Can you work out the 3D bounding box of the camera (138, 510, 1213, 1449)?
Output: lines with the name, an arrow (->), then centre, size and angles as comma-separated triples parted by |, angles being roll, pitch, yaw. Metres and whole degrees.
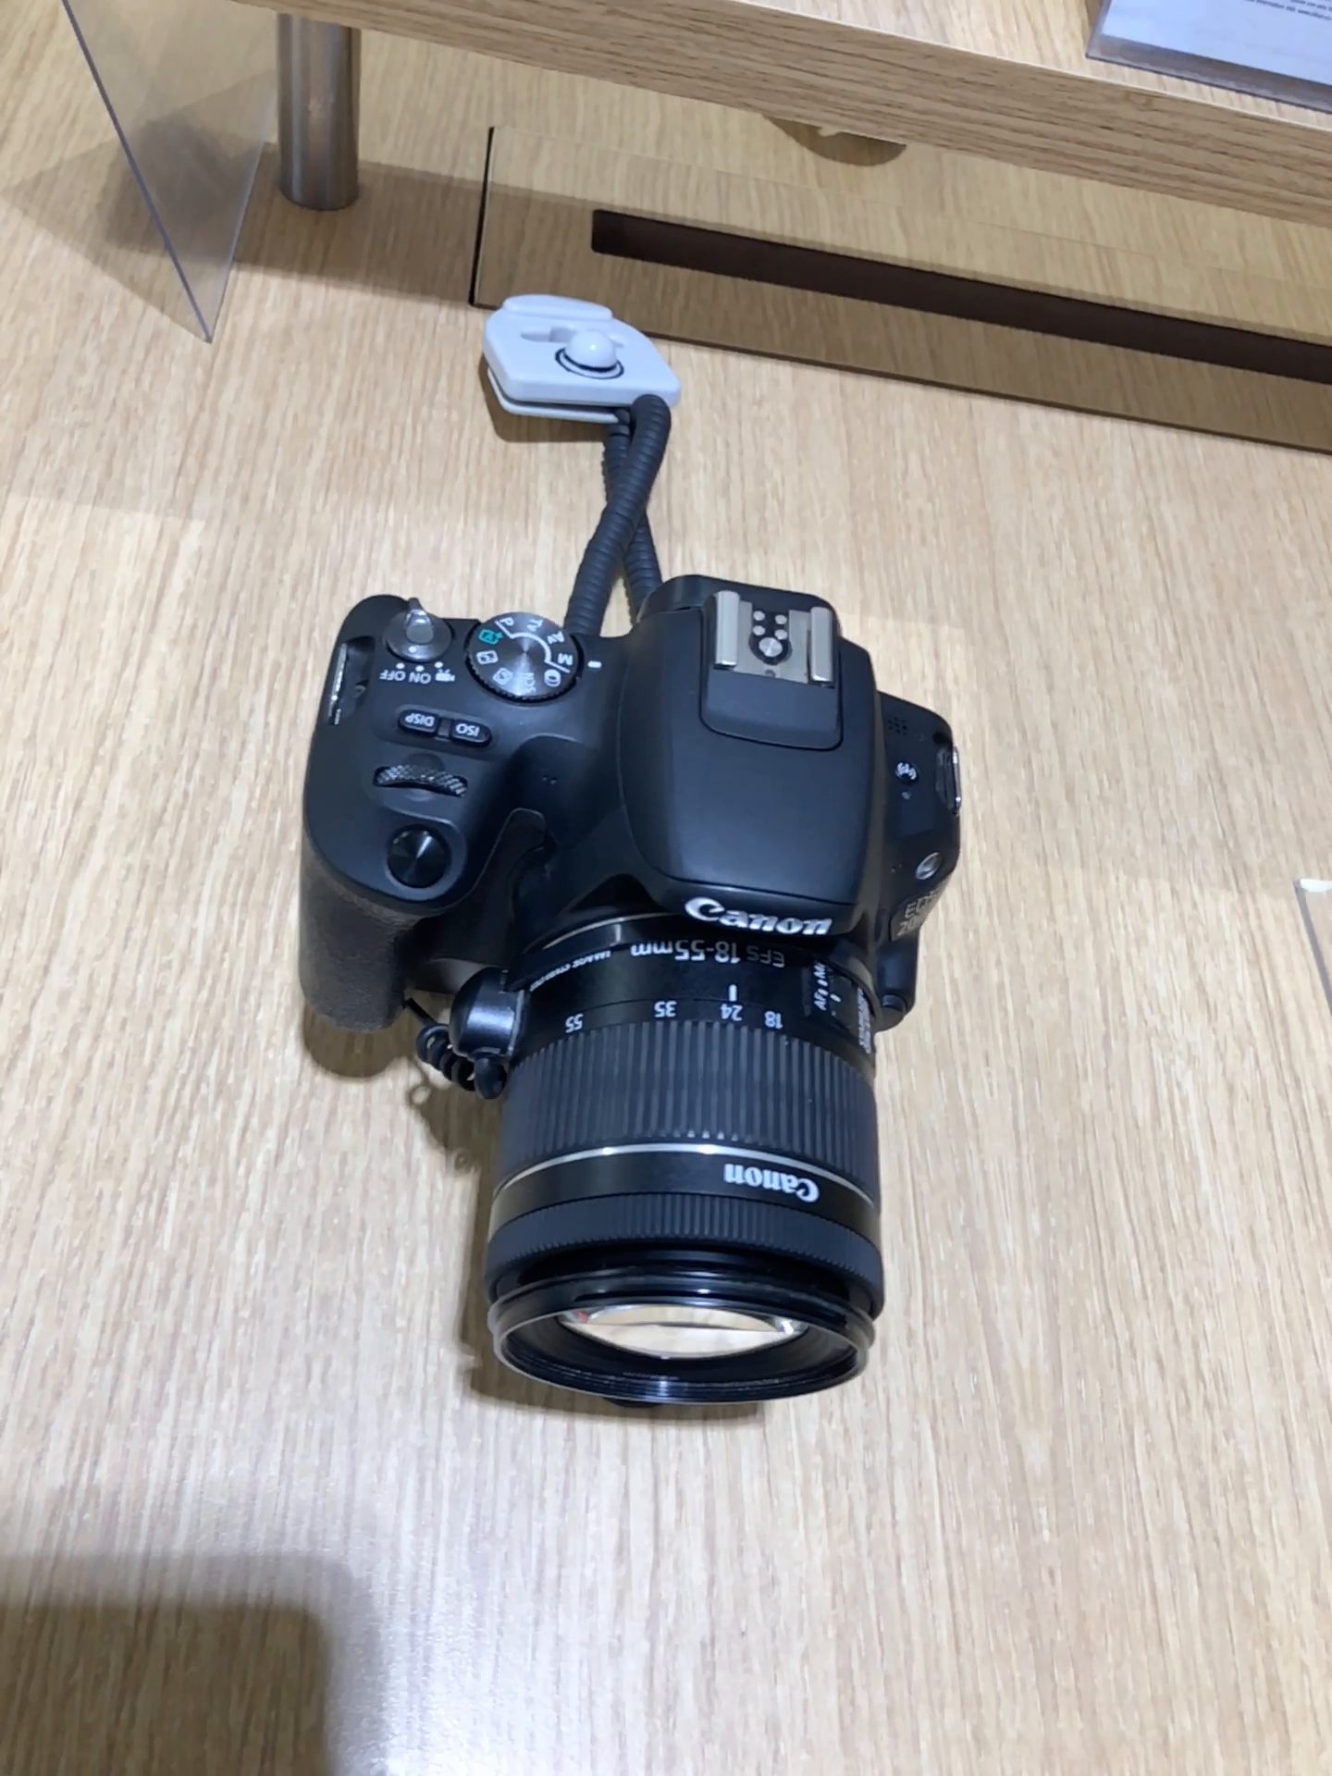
camera -> -0.002, 0.019, 0.240 | 0.130, 0.080, 0.115 | 7, 57, -9
